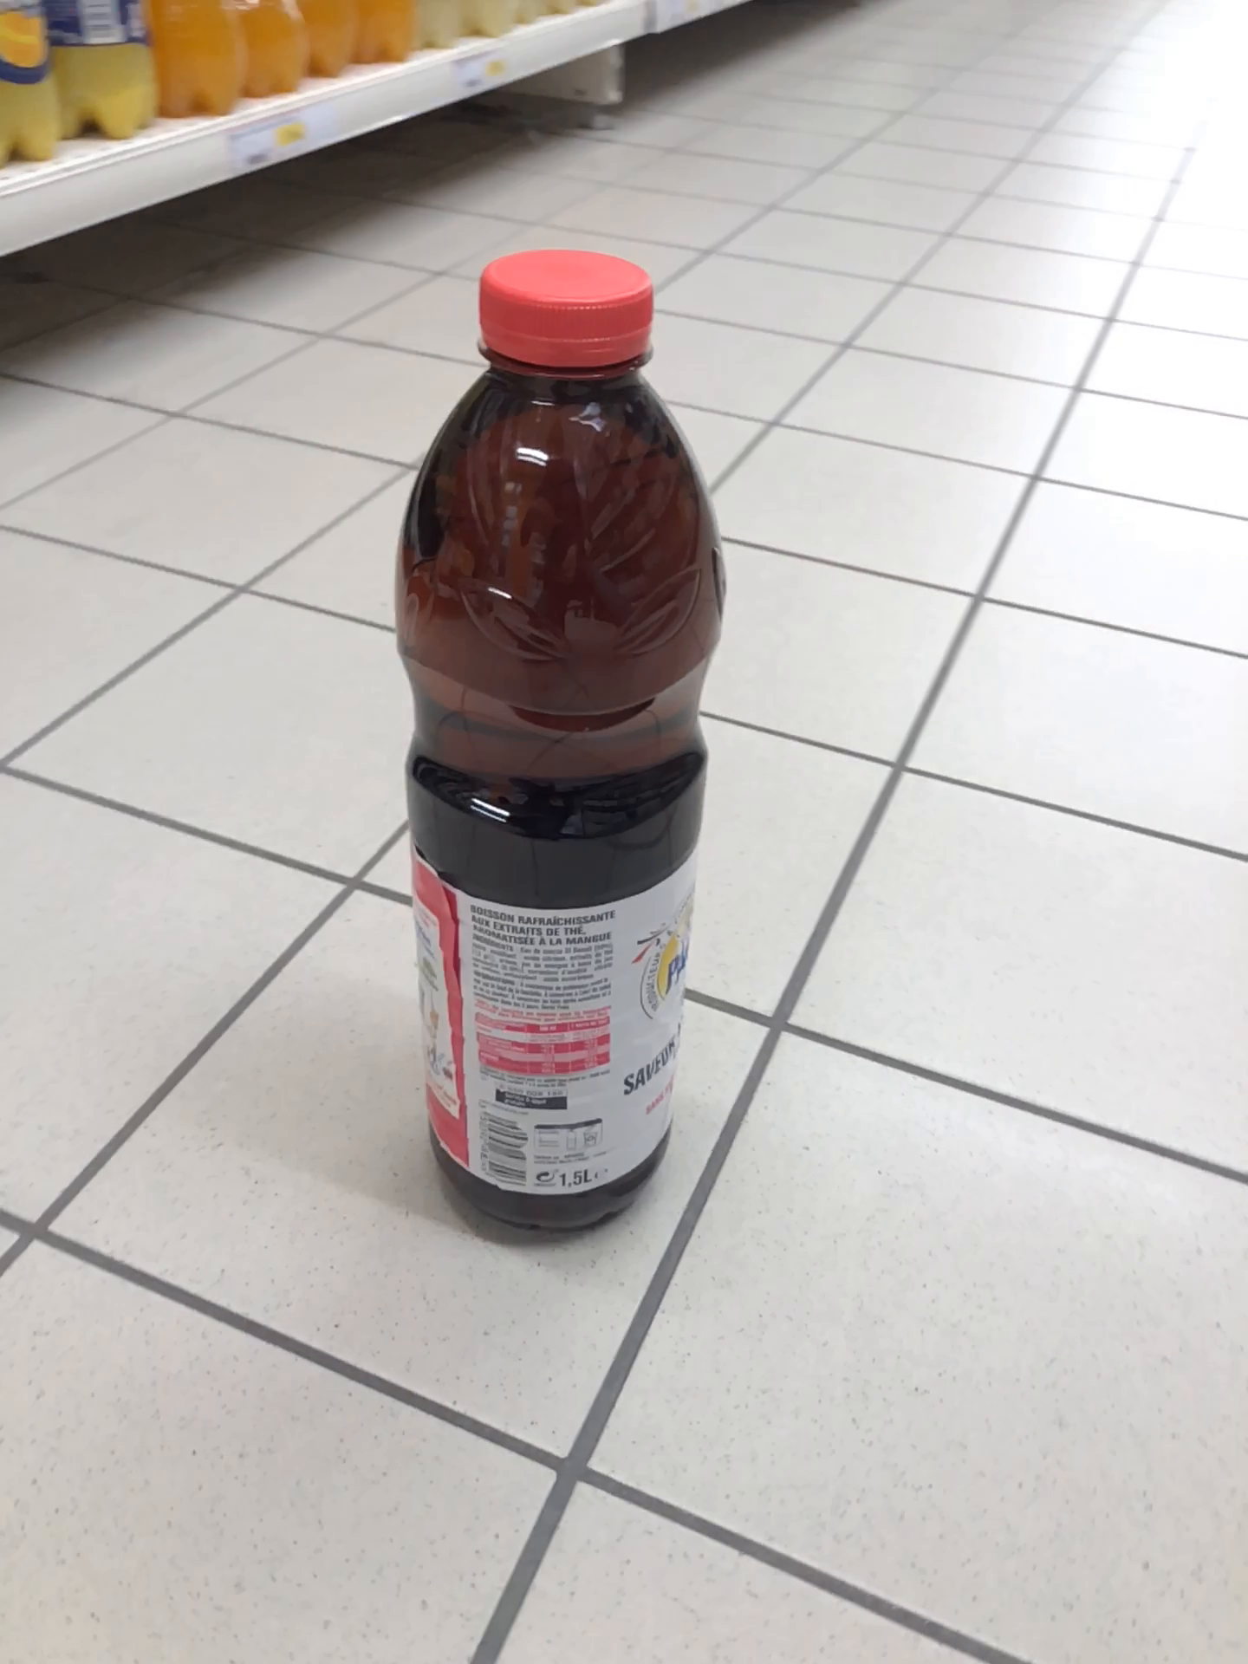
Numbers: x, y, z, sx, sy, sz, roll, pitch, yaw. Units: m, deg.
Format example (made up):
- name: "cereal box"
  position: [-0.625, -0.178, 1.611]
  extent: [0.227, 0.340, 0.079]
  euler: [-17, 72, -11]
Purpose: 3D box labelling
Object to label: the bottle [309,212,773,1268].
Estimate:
- name: "bottle"
  position: [-0.019, -0.009, 0.397]
  extent: [0.090, 0.288, 0.101]
  euler: [6, 37, 3]
